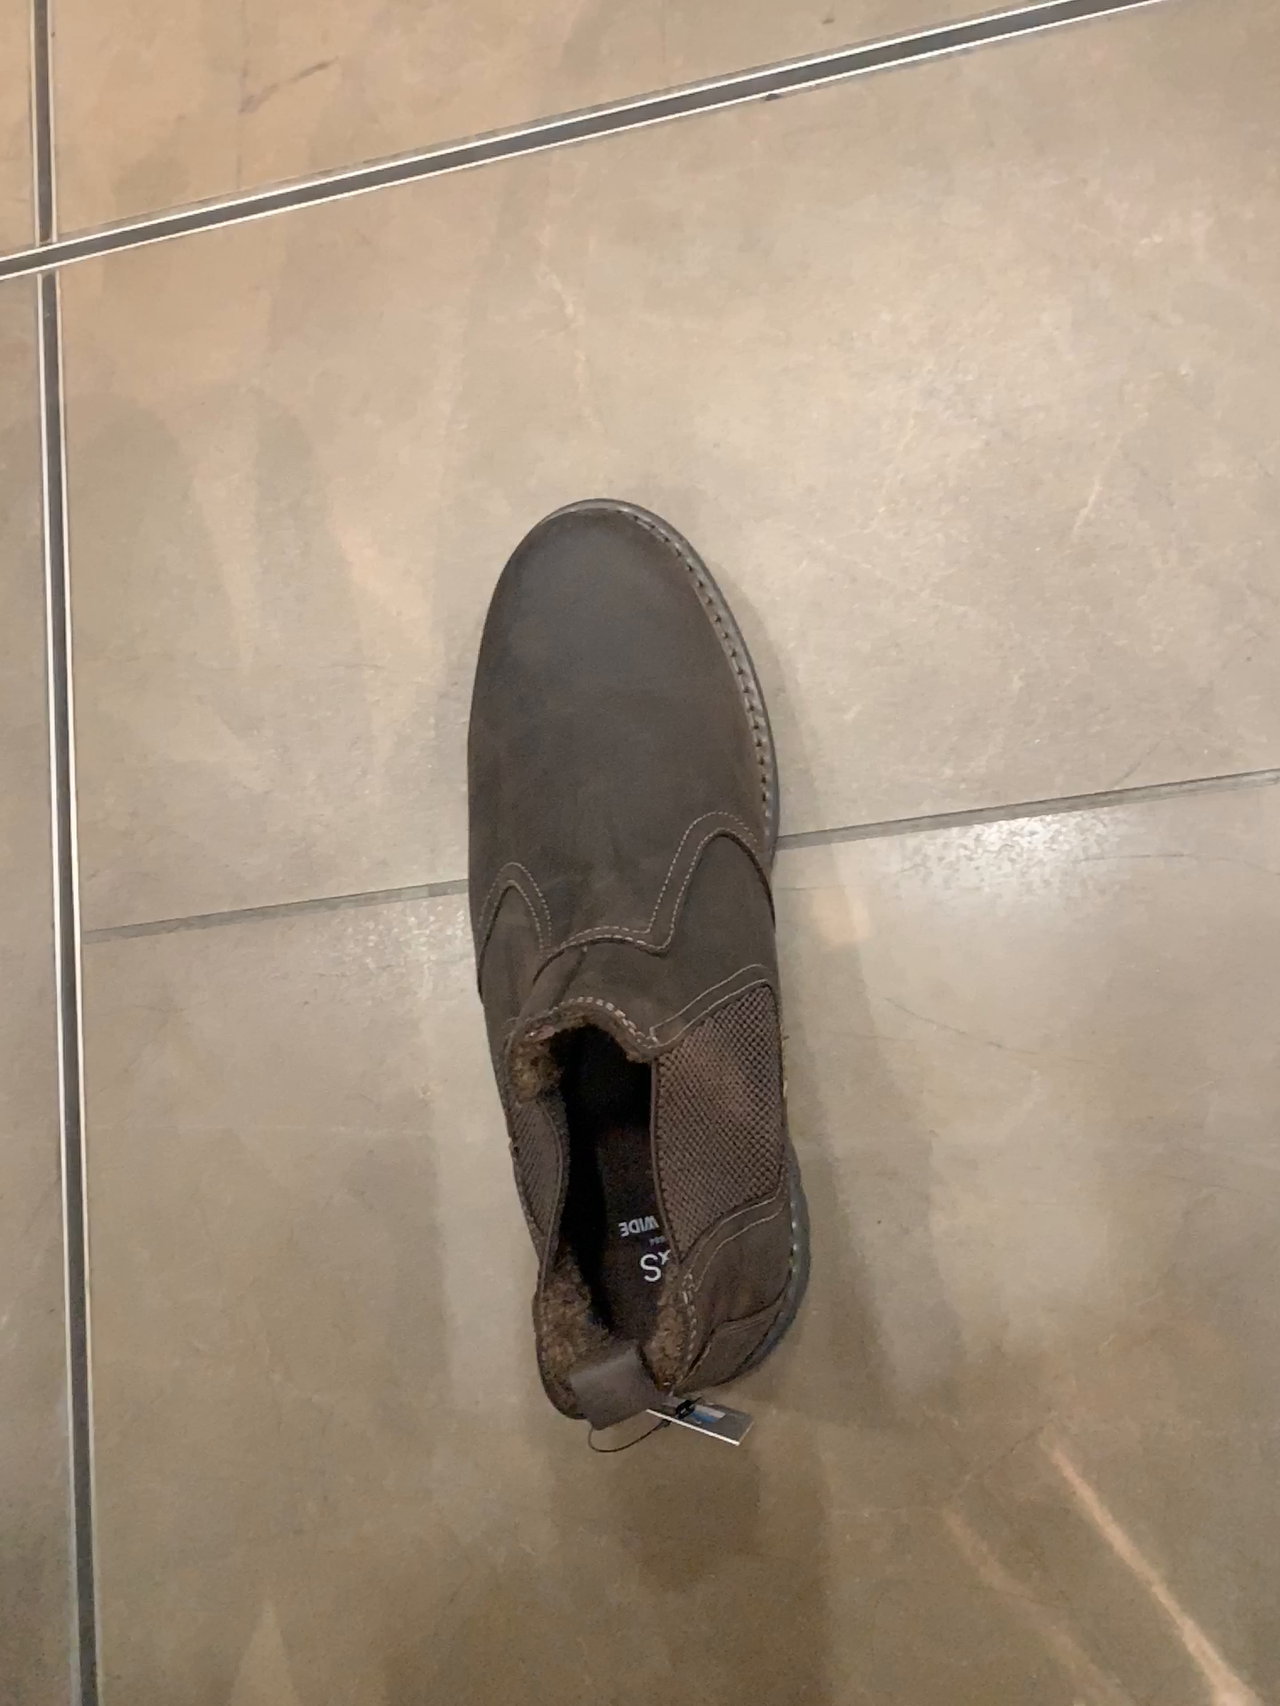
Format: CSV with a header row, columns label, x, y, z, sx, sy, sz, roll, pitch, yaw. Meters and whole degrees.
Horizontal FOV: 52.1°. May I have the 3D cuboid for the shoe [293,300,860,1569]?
label,x,y,z,sx,sy,sz,roll,pitch,yaw
shoe,-0.010,0.025,0.404,0.114,0.166,0.304,-7,80,11
